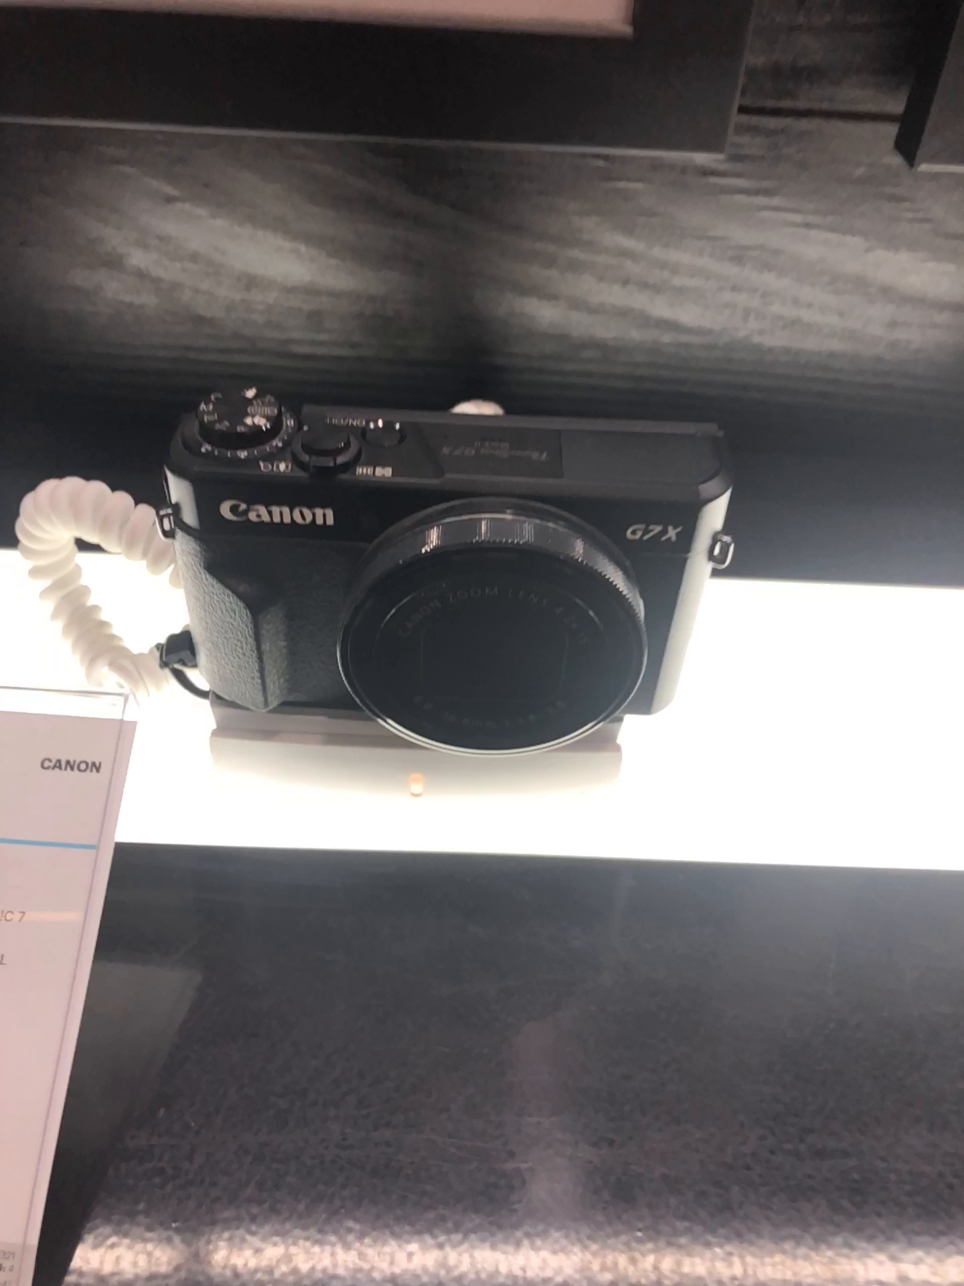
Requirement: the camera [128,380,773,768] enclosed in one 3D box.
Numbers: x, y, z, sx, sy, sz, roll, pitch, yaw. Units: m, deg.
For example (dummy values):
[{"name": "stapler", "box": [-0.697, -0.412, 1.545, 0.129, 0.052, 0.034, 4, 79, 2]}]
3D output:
[{"name": "camera", "box": [-0.006, -0.012, 0.200, 0.100, 0.056, 0.038, 2, 42, -1]}]
